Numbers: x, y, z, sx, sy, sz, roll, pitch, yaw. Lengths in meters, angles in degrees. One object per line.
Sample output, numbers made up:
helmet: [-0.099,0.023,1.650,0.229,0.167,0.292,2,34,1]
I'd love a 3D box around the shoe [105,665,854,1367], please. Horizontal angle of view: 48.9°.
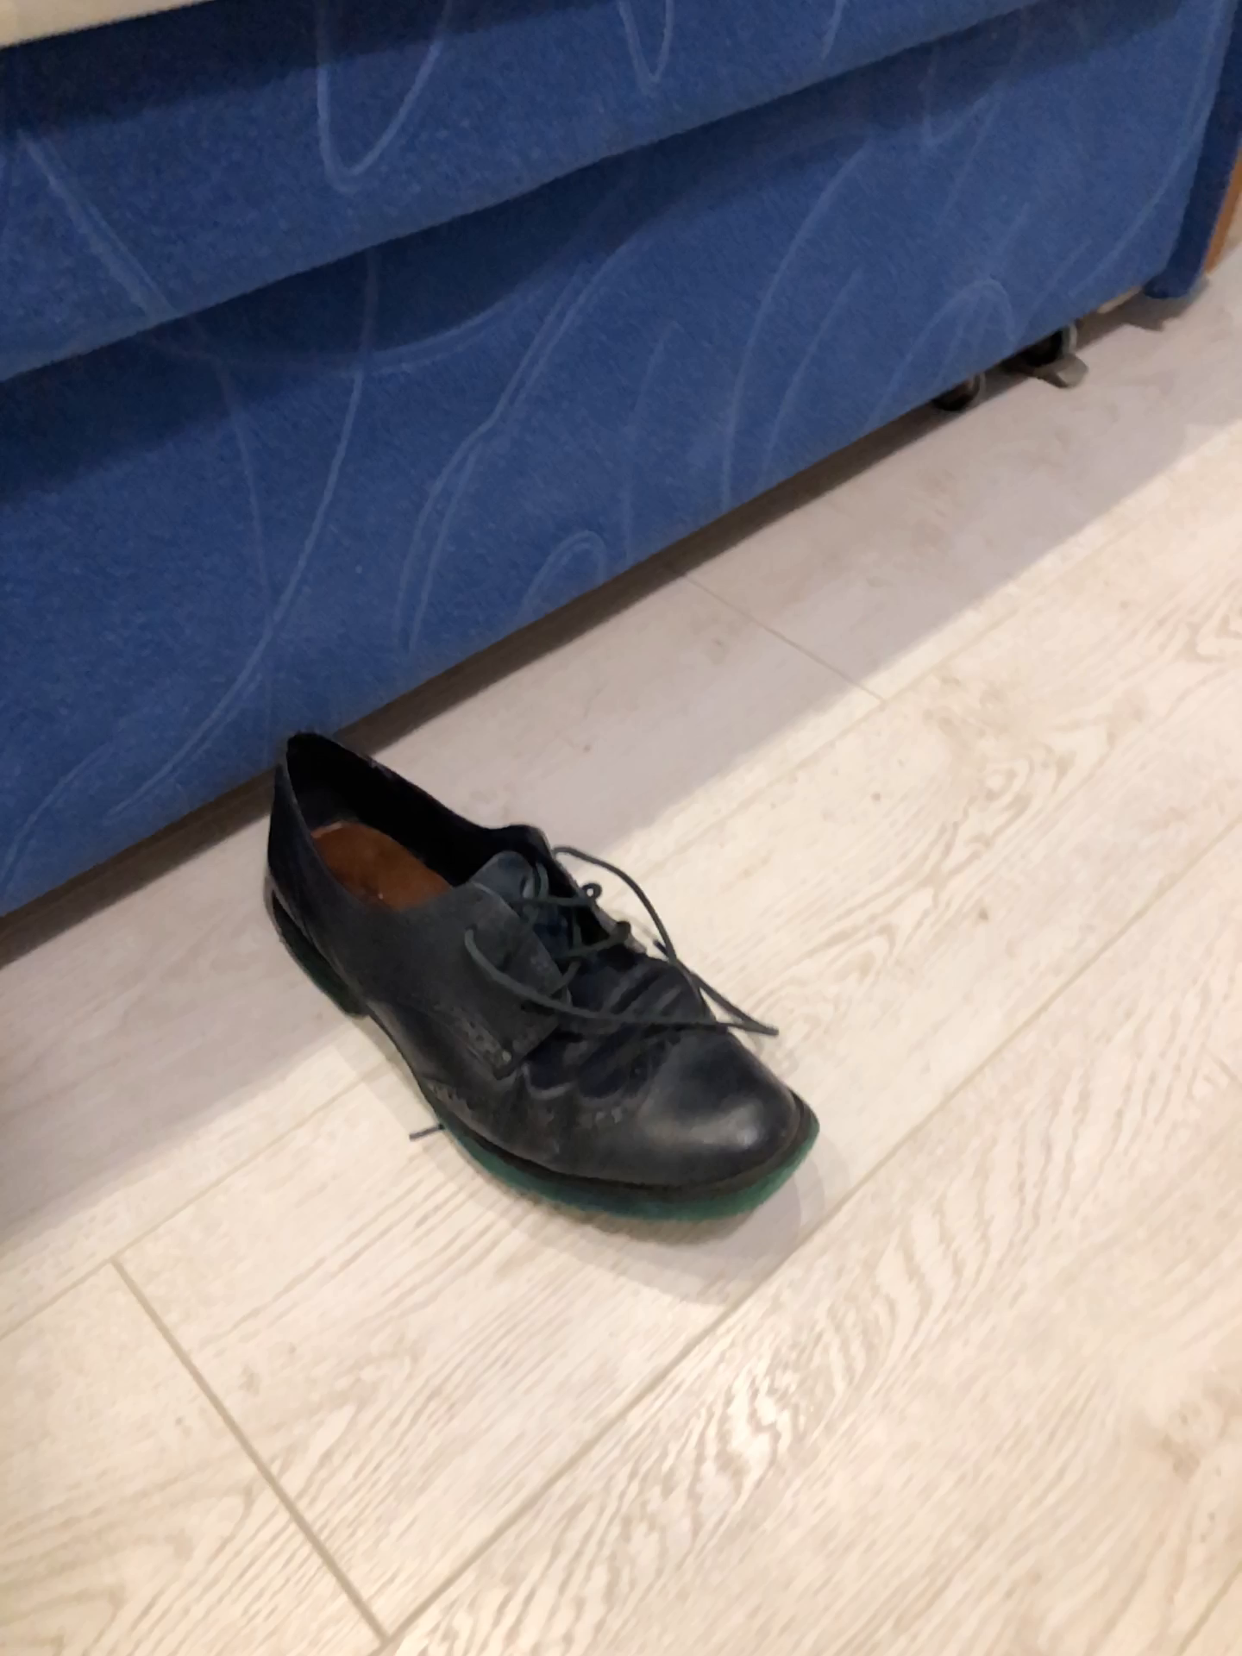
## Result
shoe: [-0.055,0.054,0.480,0.251,0.089,0.096,32,54,27]
